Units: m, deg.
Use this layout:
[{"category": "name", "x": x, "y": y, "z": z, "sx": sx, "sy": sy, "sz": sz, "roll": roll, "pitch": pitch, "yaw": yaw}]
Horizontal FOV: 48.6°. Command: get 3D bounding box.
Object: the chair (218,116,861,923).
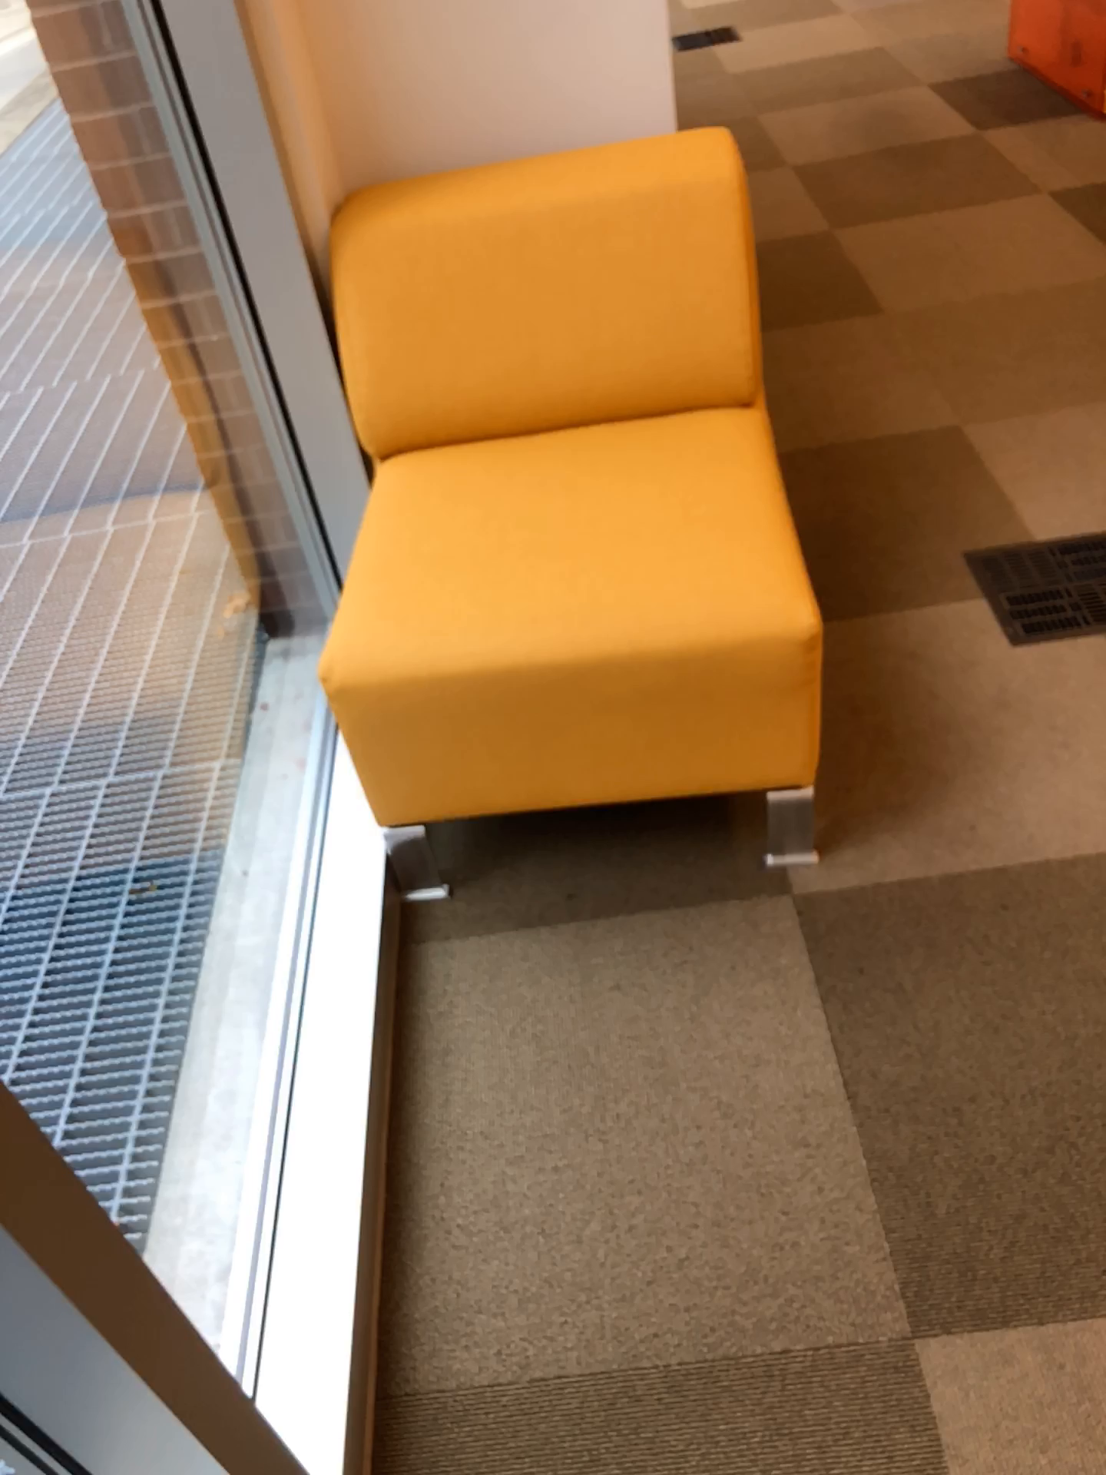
[{"category": "chair", "x": 0.032, "y": -0.359, "z": 1.868, "sx": 0.673, "sy": 0.751, "sz": 0.949, "roll": -7, "pitch": 41, "yaw": 6}]
